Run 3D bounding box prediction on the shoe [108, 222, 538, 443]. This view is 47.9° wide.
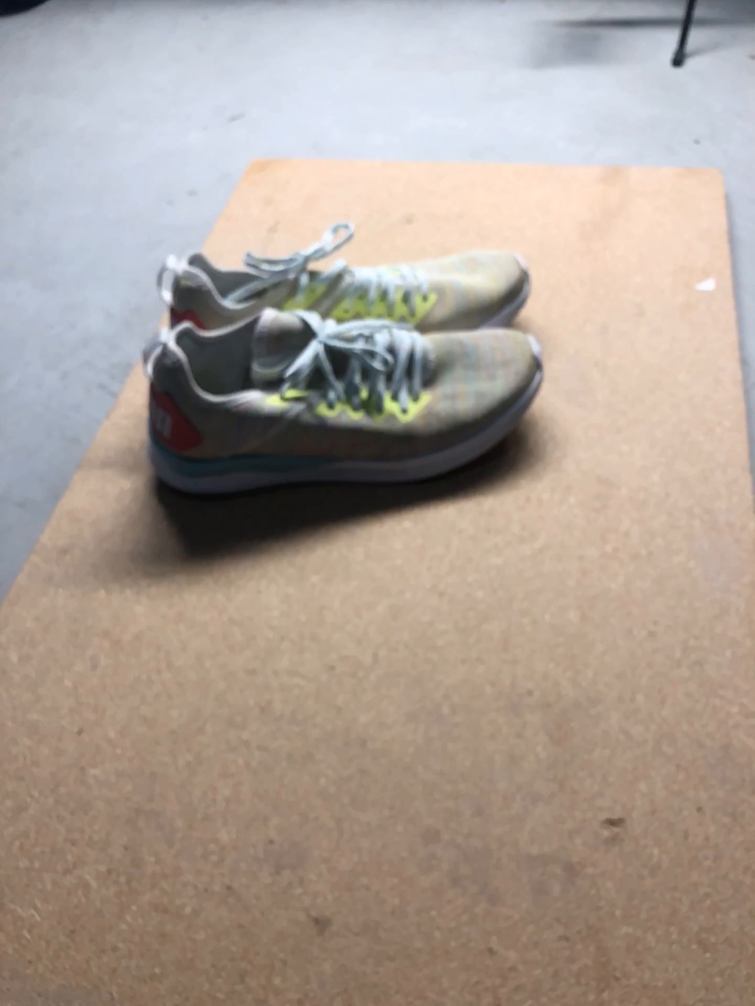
[{"bbox_3d":[-0.043,-0.136,0.661,0.300,0.100,0.110,-7,42,-8],"label":"shoe"}]

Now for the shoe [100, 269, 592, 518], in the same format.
[{"bbox_3d":[-0.023,-0.078,0.581,0.300,0.100,0.100,-7,42,-8],"label":"shoe"}]
